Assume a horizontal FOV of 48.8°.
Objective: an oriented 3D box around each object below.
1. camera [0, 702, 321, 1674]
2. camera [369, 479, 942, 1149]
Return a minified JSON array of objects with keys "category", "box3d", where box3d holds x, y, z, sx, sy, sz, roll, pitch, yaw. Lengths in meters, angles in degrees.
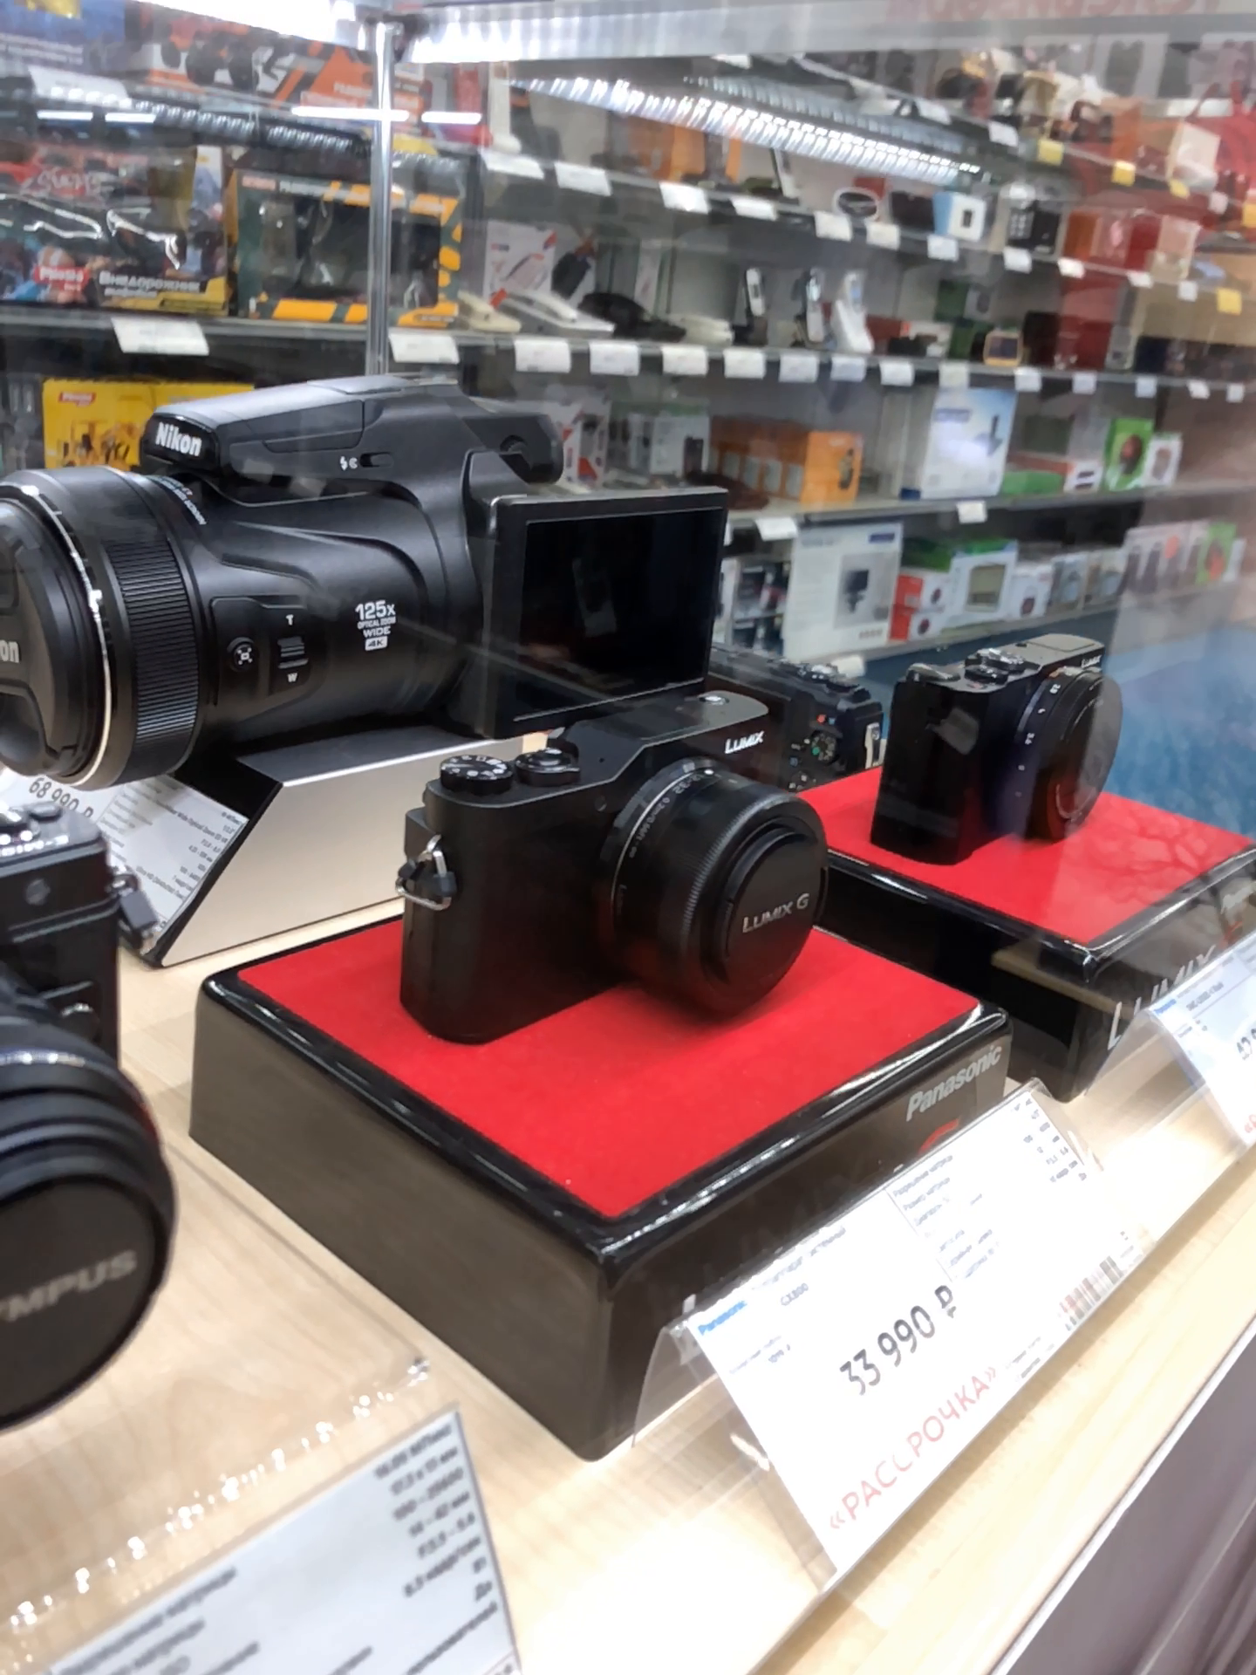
[{"category":"camera","box3d":[-0.121,0.039,0.201,0.103,0.080,0.108,23,26,38]},{"category":"camera","box3d":[0.006,-0.015,0.321,0.070,0.120,0.108,20,25,34]}]
